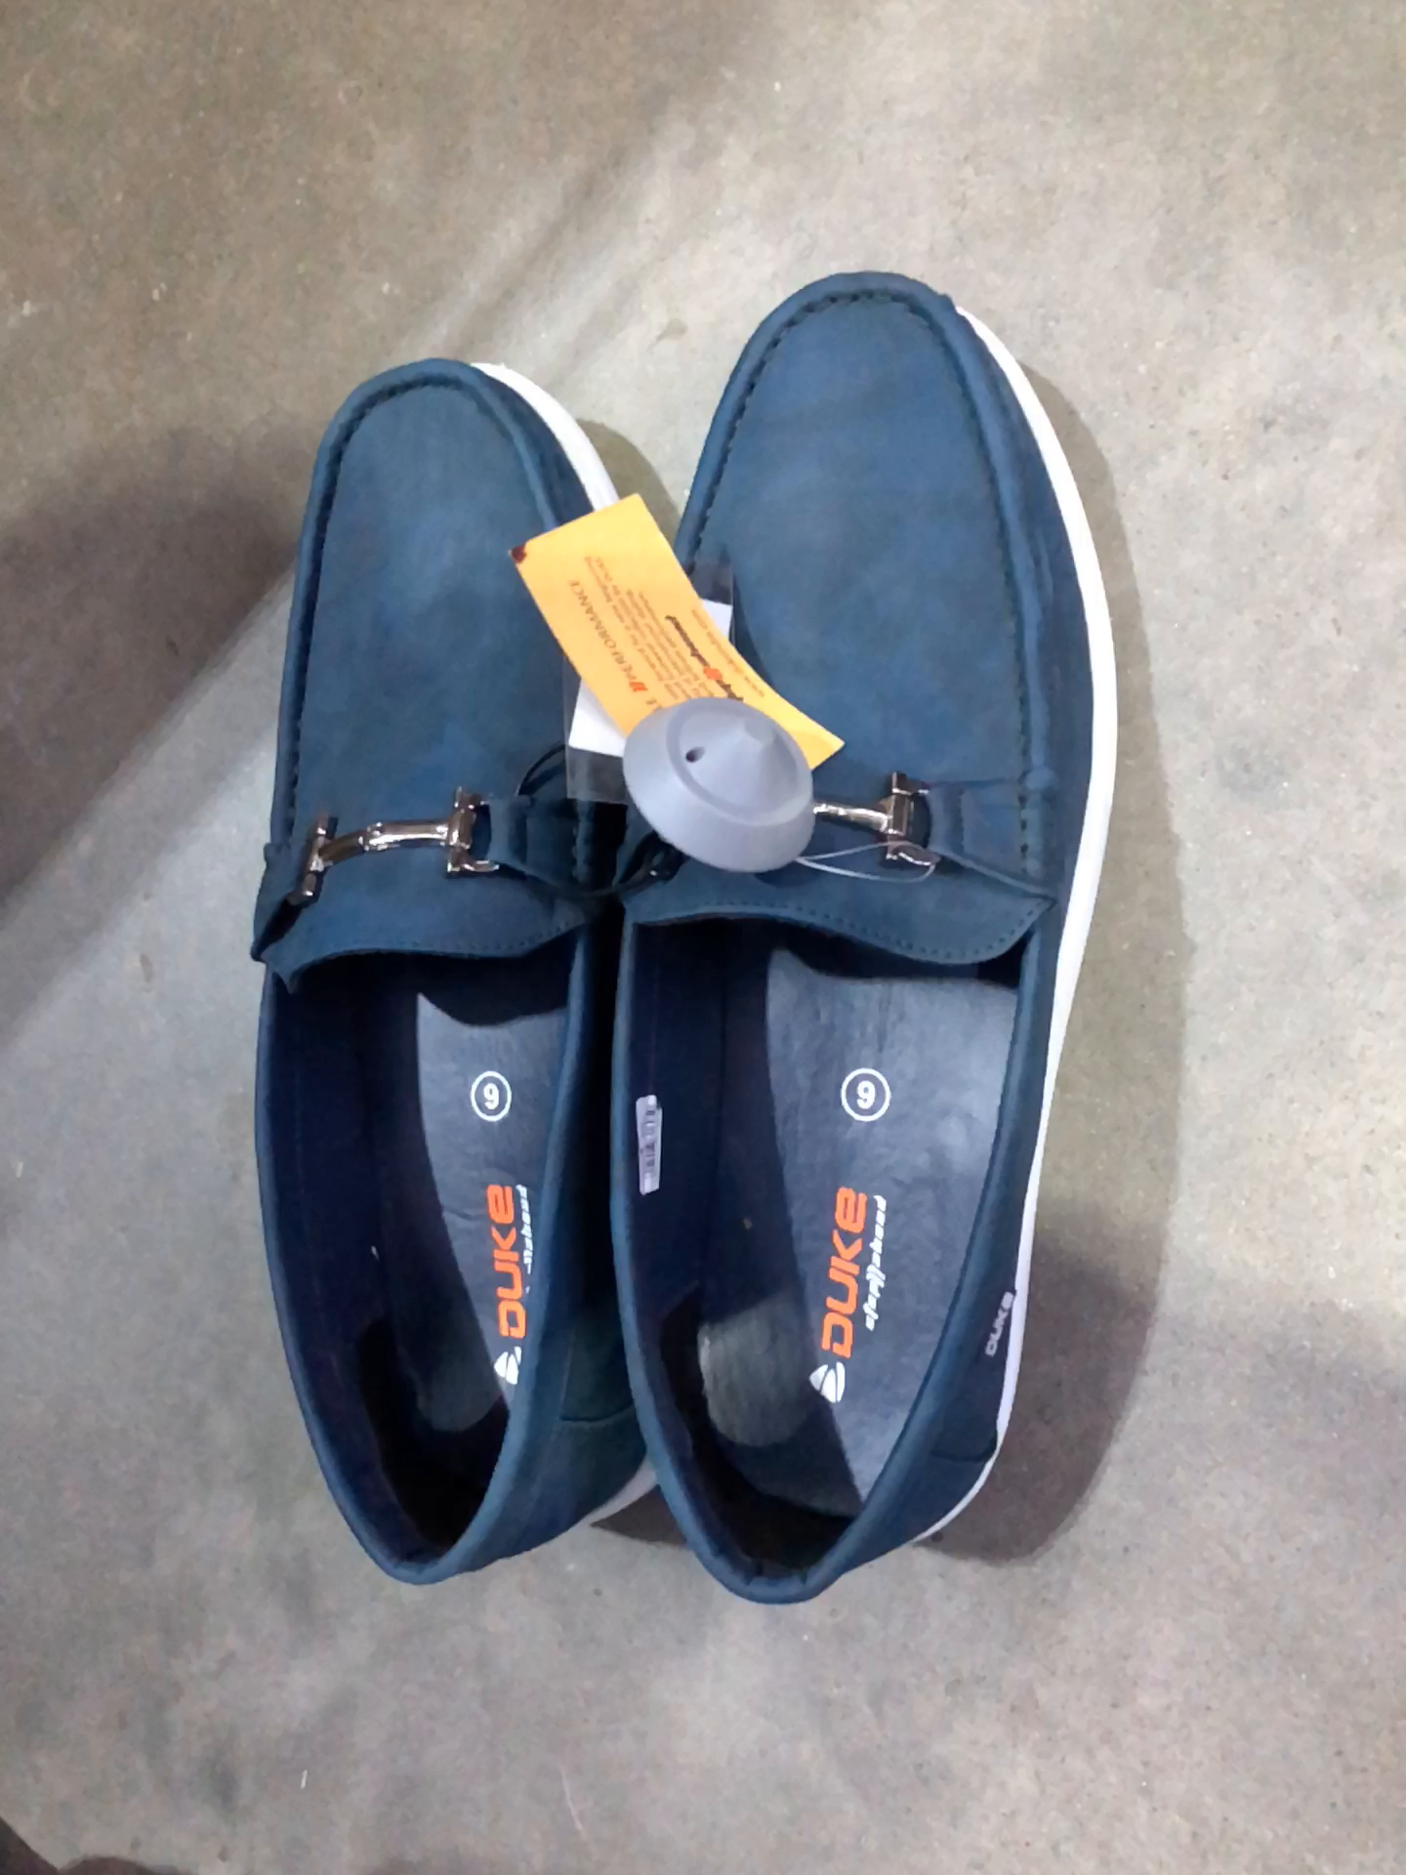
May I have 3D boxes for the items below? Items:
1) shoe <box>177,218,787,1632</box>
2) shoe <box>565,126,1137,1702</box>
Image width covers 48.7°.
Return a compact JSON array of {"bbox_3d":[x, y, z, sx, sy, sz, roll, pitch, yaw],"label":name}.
[{"bbox_3d":[-0.054,-0.001,0.395,0.110,0.080,0.310,-5,87,19],"label":"shoe"},{"bbox_3d":[0.038,-0.006,0.361,0.110,0.080,0.310,1,89,19],"label":"shoe"}]
